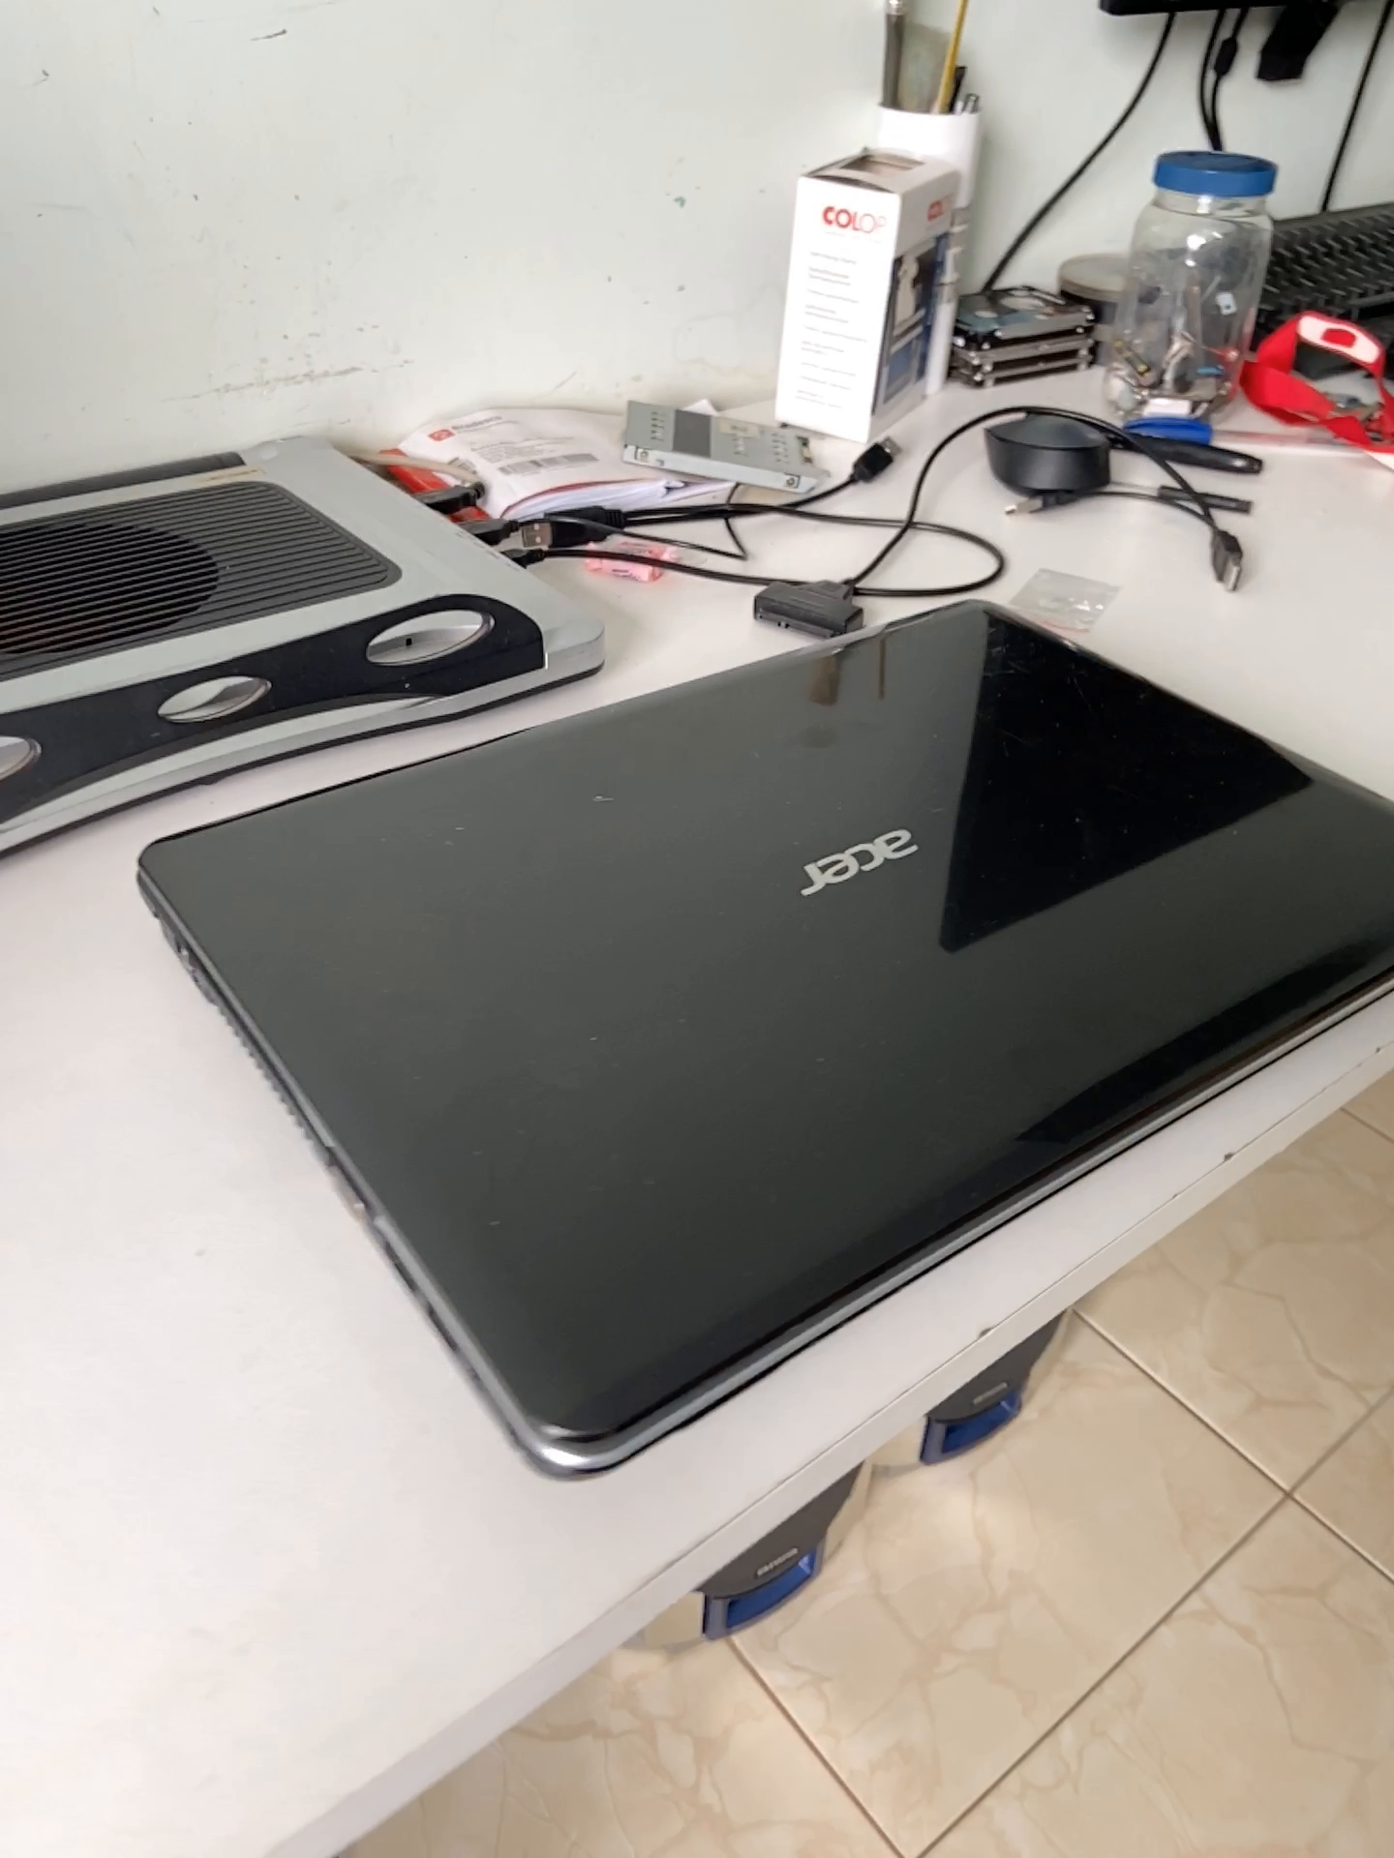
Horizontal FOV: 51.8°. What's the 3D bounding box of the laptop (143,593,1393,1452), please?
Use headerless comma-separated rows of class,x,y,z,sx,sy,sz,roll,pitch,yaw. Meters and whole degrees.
laptop,0.048,-0.020,0.412,0.336,0.005,0.230,-22,42,-29
